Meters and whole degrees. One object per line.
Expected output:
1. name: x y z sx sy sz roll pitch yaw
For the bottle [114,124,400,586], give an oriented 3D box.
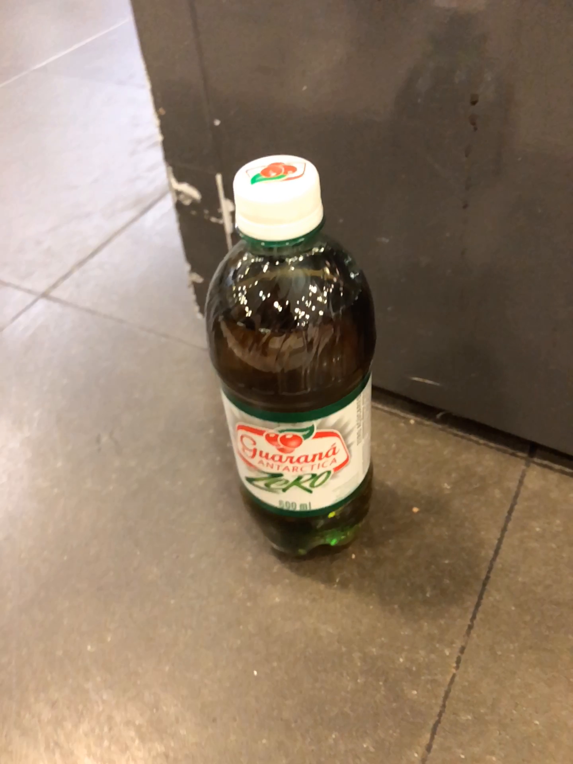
1. bottle: 0.000 0.002 0.294 0.080 0.209 0.070 10 47 15
